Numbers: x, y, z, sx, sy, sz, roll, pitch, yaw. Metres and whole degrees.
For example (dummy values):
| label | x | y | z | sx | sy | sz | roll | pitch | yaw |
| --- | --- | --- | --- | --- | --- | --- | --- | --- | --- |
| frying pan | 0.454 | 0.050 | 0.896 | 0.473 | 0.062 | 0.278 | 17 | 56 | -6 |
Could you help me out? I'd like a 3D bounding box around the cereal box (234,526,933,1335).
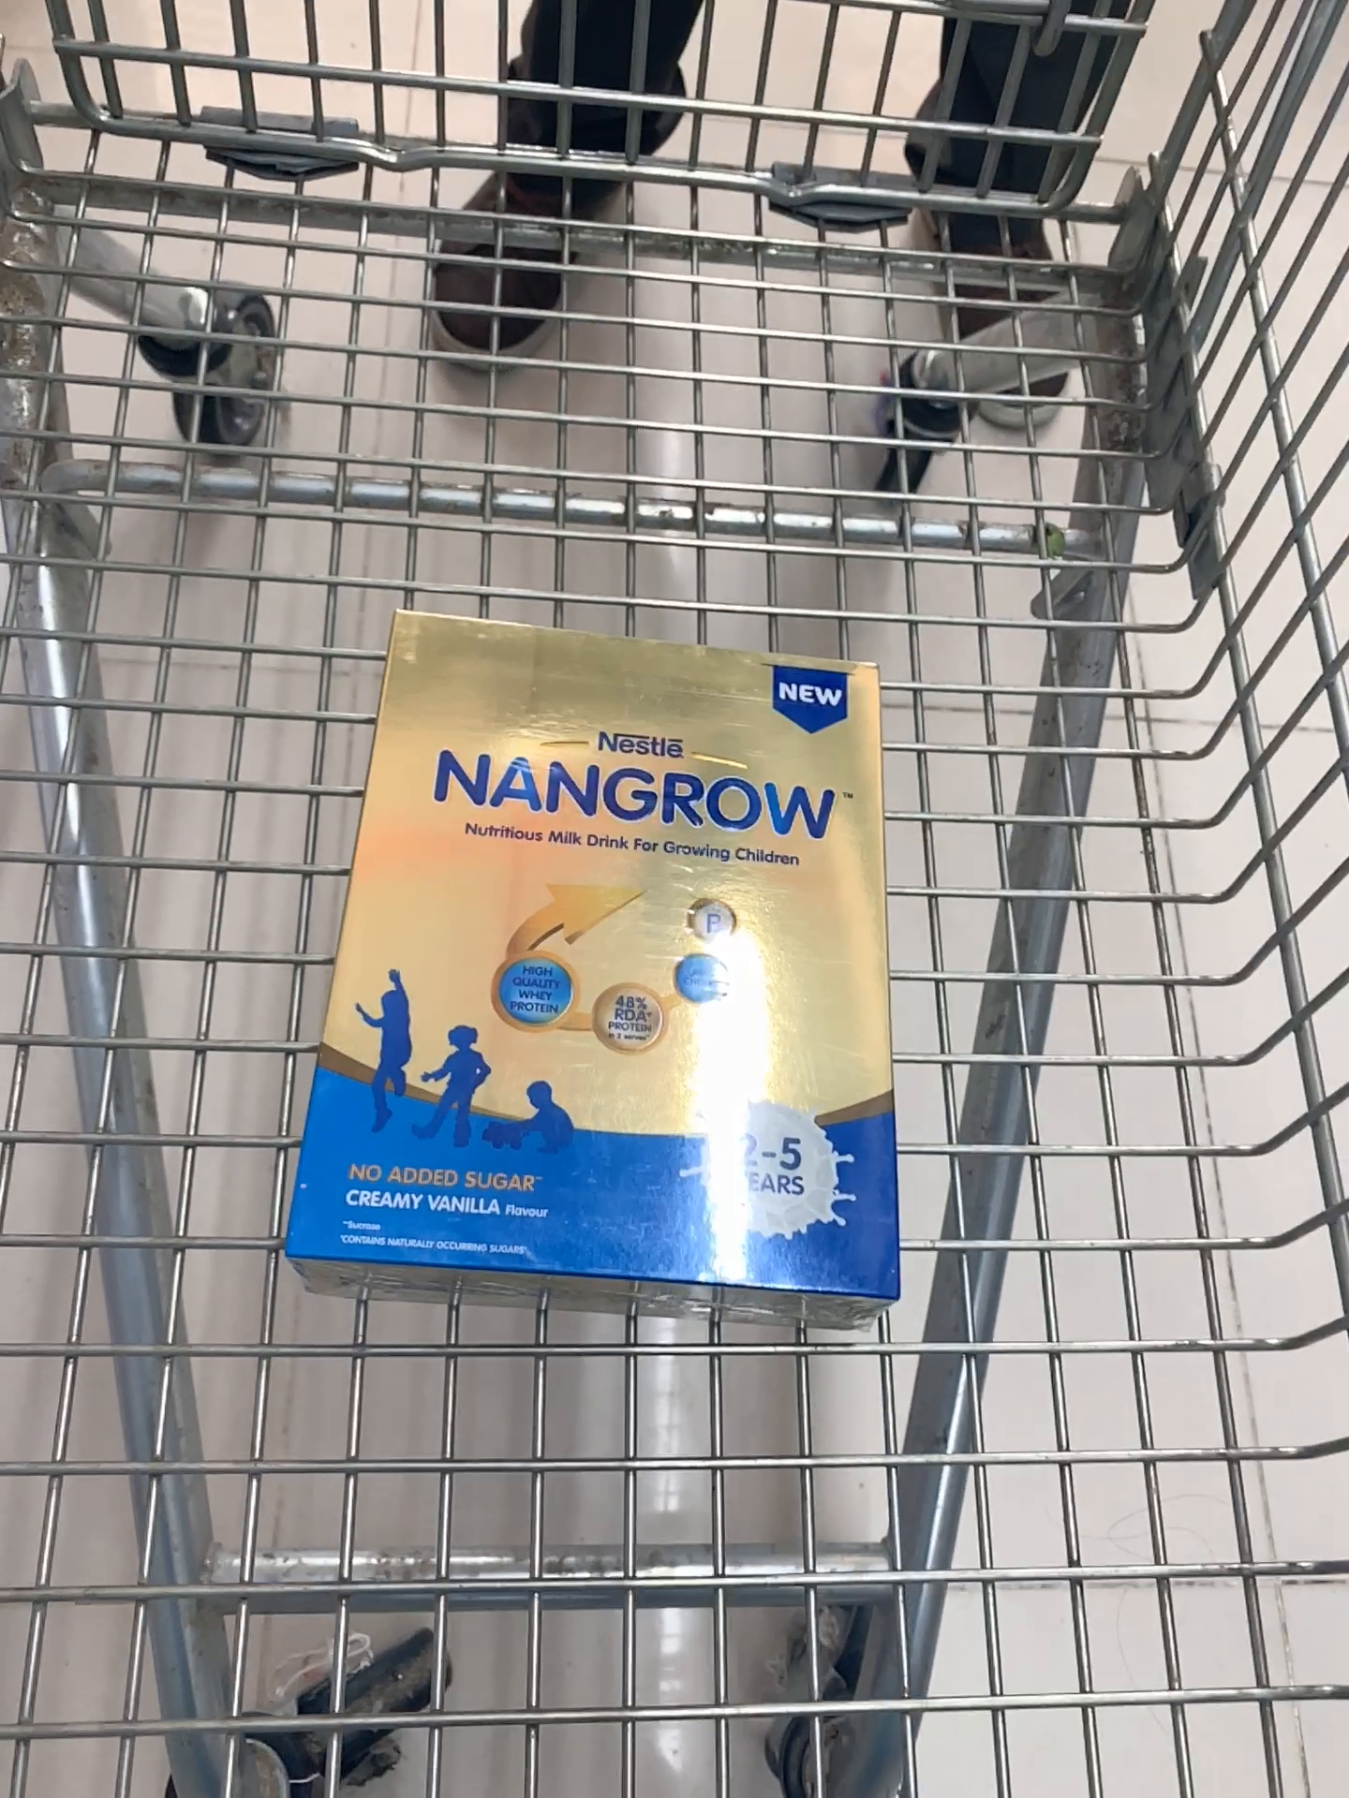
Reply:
| label | x | y | z | sx | sy | sz | roll | pitch | yaw |
| --- | --- | --- | --- | --- | --- | --- | --- | --- | --- |
| cereal box | -0.017 | 0.008 | 0.361 | 0.150 | 0.060 | 0.190 | 5 | 68 | -5 |
